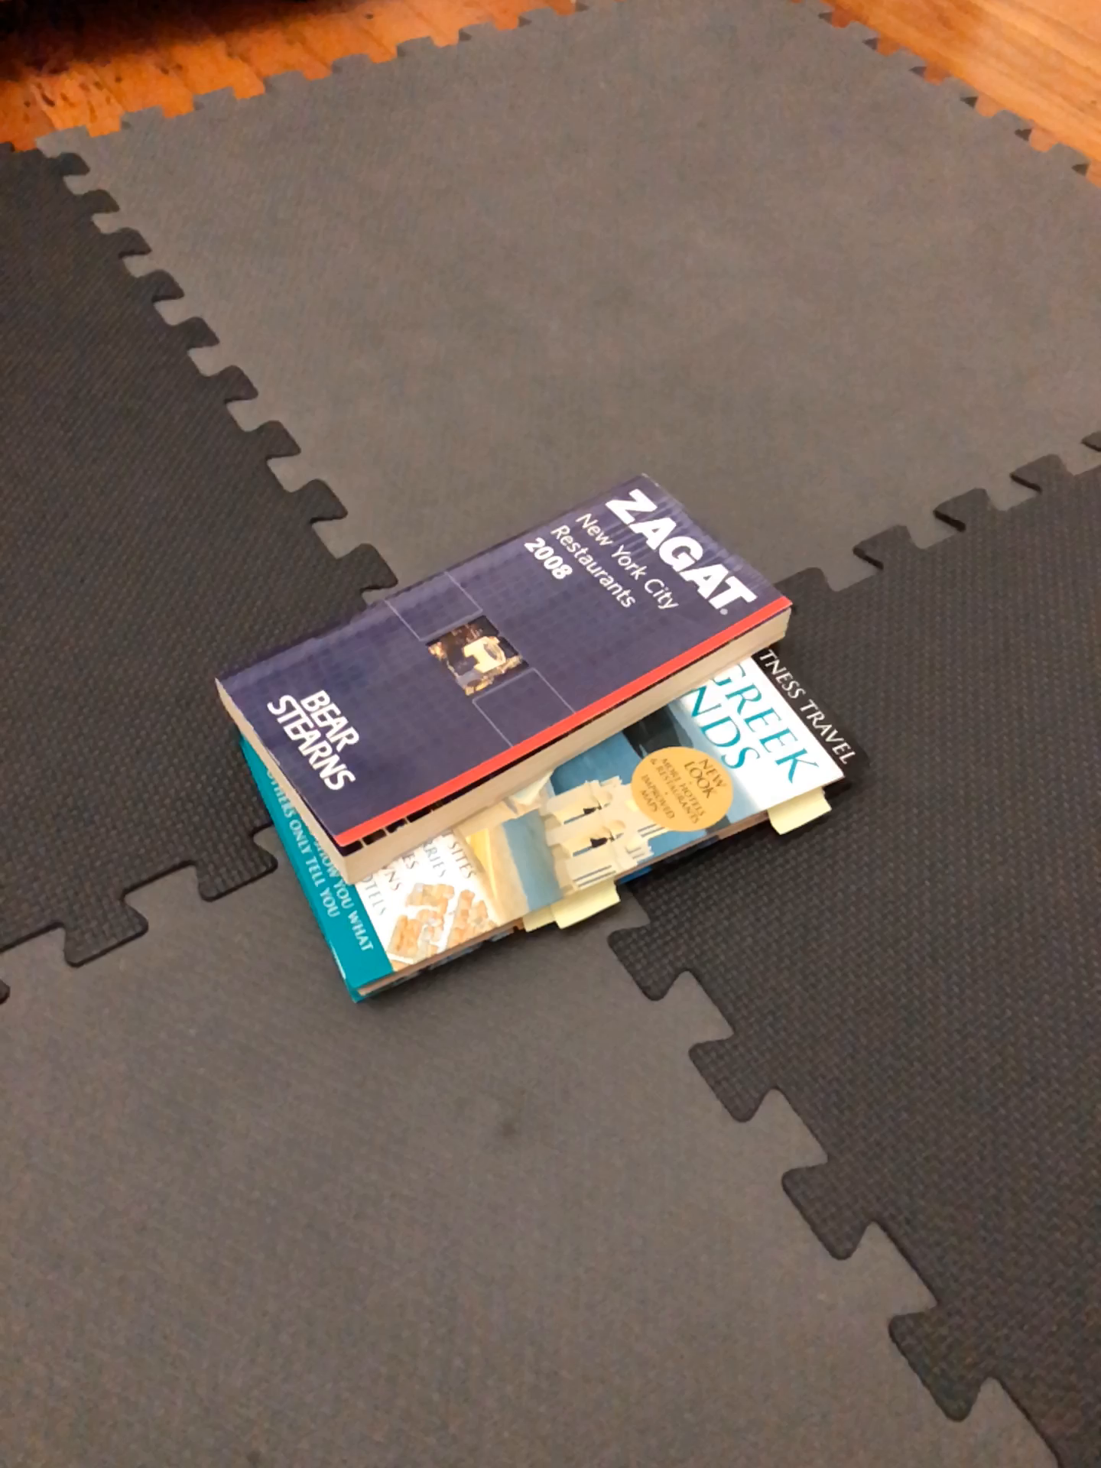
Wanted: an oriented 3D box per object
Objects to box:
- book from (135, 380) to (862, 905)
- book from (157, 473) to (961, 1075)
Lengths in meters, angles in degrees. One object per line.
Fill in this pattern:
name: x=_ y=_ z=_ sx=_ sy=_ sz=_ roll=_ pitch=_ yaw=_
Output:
book: x=-0.018 y=-0.053 z=0.493 sx=0.250 sy=0.020 sz=0.150 roll=-30 pitch=59 yaw=-21
book: x=0.001 y=-0.002 z=0.477 sx=0.260 sy=0.030 sz=0.171 roll=-22 pitch=56 yaw=-17
